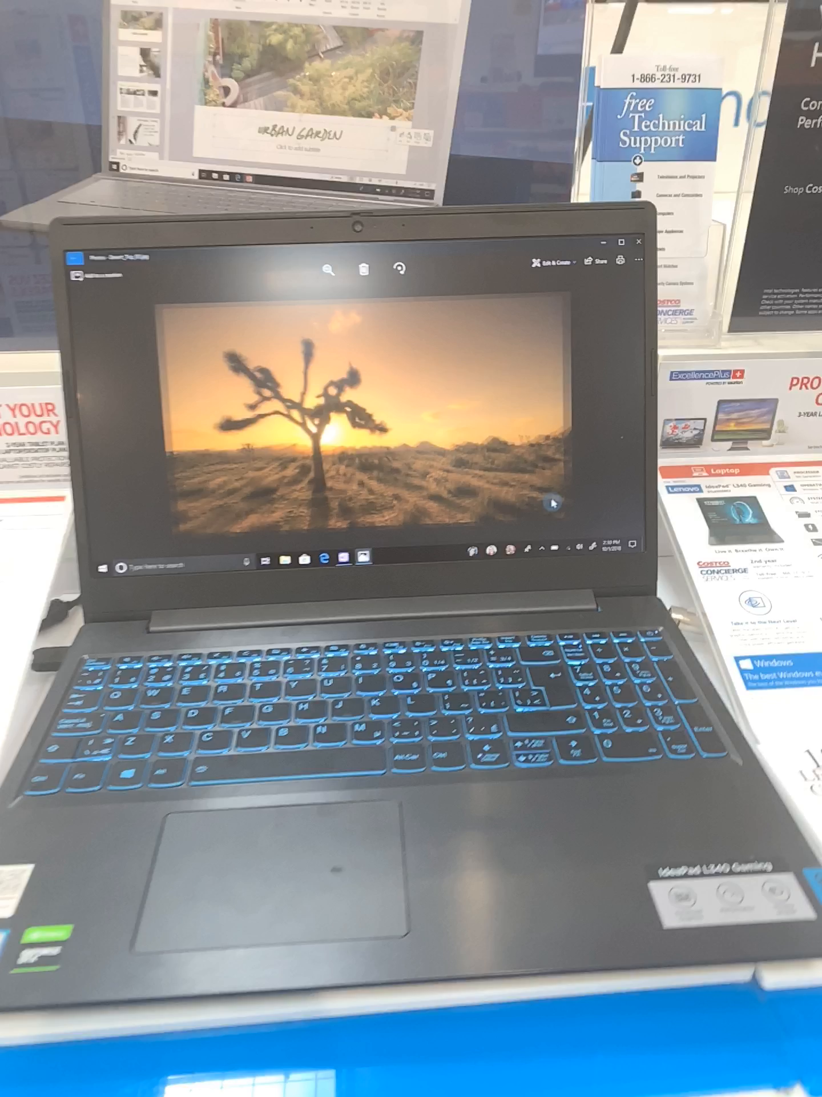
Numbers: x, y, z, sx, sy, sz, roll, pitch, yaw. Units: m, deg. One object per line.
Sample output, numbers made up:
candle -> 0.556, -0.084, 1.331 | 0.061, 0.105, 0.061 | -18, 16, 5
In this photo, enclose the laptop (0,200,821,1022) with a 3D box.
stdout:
laptop -> -0.010, -0.023, 0.390 | 0.340, 0.214, 0.330 | -2, 29, -4
